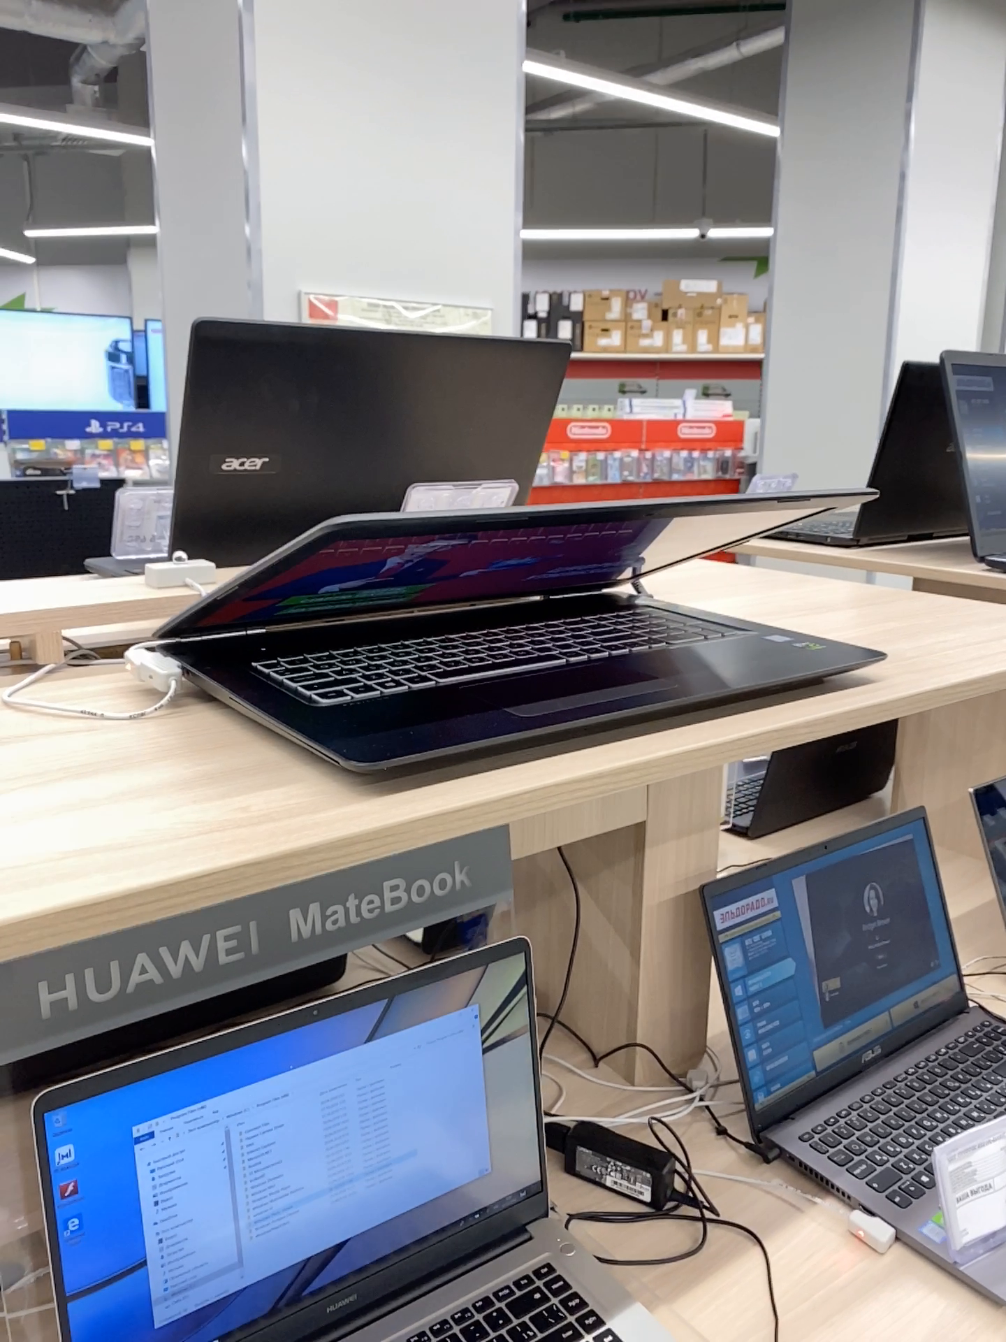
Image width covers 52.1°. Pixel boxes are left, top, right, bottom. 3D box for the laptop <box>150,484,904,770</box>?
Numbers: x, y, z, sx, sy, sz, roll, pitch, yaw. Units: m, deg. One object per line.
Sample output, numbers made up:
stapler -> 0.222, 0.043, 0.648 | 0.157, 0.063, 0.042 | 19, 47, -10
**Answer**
laptop -> 0.020, -0.059, 0.683 | 0.414, 0.095, 0.269 | -9, 18, -35
